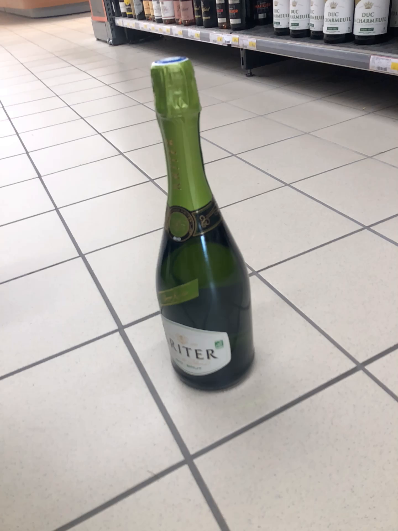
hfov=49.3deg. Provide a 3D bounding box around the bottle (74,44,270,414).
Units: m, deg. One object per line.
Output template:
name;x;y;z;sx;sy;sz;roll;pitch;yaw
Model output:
bottle;-0.003;-0.019;0.391;0.100;0.308;0.091;13;38;29
